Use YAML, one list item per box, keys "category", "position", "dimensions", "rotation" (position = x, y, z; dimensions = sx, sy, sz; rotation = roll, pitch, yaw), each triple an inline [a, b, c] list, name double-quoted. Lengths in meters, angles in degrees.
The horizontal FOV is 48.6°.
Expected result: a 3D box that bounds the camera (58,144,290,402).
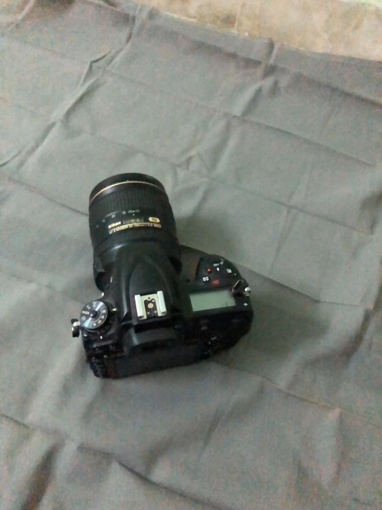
- category: "camera"
  position: [-0.026, 0.017, 0.371]
  dimensions: [0.146, 0.134, 0.164]
  rotation: [-7, 60, -9]
